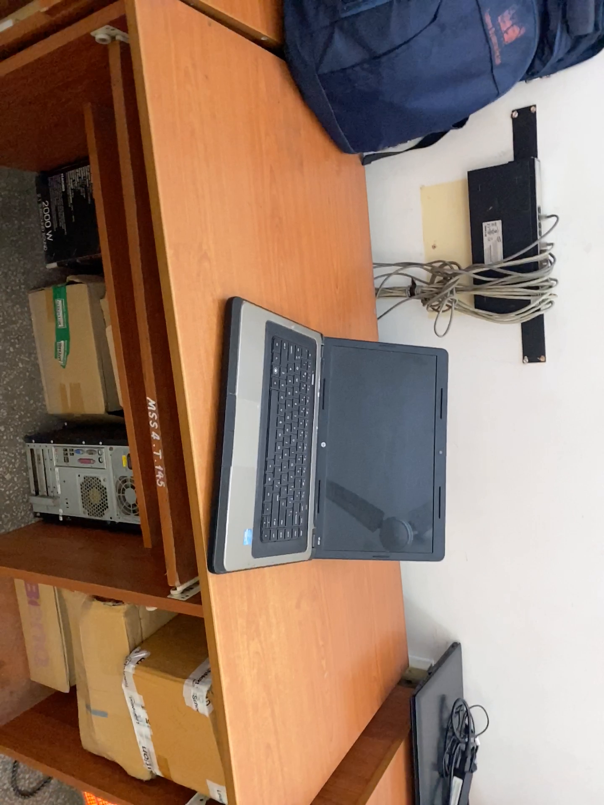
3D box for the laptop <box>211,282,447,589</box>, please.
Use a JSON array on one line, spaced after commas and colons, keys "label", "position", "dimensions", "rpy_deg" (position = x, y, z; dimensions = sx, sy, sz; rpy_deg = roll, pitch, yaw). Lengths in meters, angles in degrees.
[{"label": "laptop", "position": [0.074, 0.065, 0.980], "dimensions": [0.428, 0.158, 0.383], "rpy_deg": [14, 77, -56]}]
